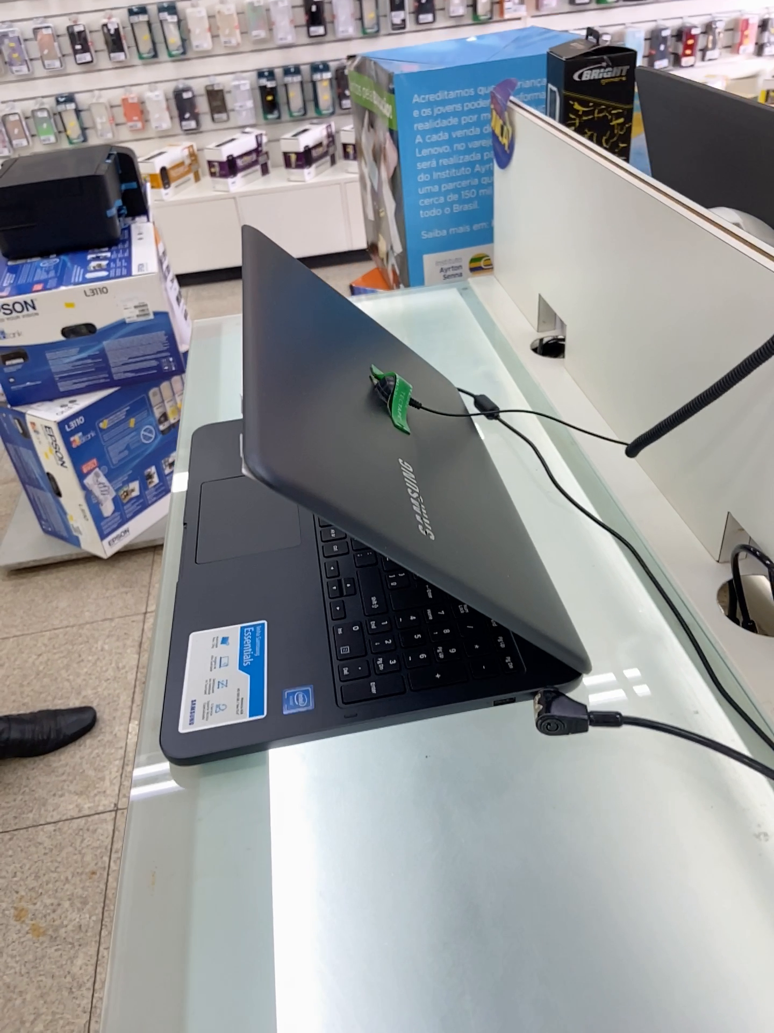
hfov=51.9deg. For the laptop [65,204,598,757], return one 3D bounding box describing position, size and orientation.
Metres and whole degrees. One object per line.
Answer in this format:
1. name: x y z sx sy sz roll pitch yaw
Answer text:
1. laptop: -0.042 -0.063 0.560 0.245 0.173 0.374 -10 36 -4
